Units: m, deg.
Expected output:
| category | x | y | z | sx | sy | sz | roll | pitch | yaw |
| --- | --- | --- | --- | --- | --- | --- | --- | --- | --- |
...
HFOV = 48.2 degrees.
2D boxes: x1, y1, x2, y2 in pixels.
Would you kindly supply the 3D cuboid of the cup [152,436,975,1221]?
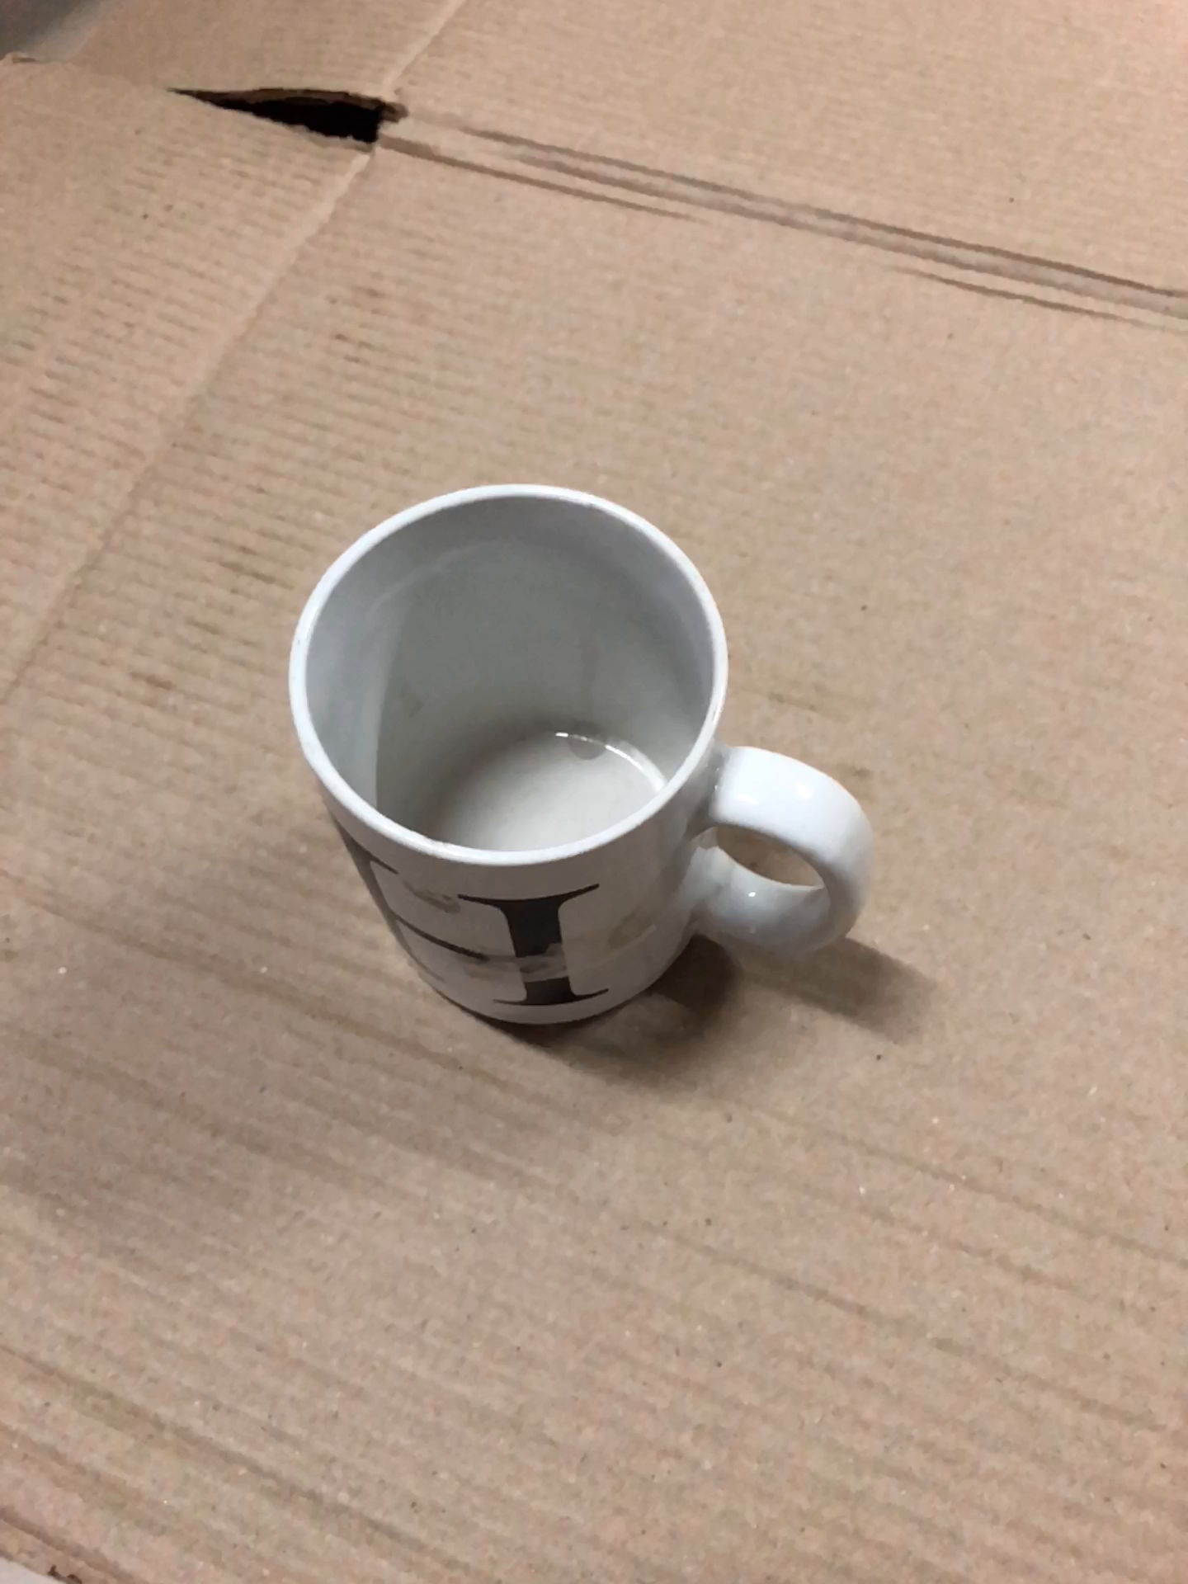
| category | x | y | z | sx | sy | sz | roll | pitch | yaw |
| --- | --- | --- | --- | --- | --- | --- | --- | --- | --- |
| cup | -0.002 | 0.010 | 0.259 | 0.110 | 0.100 | 0.080 | 22 | 62 | 15 |
